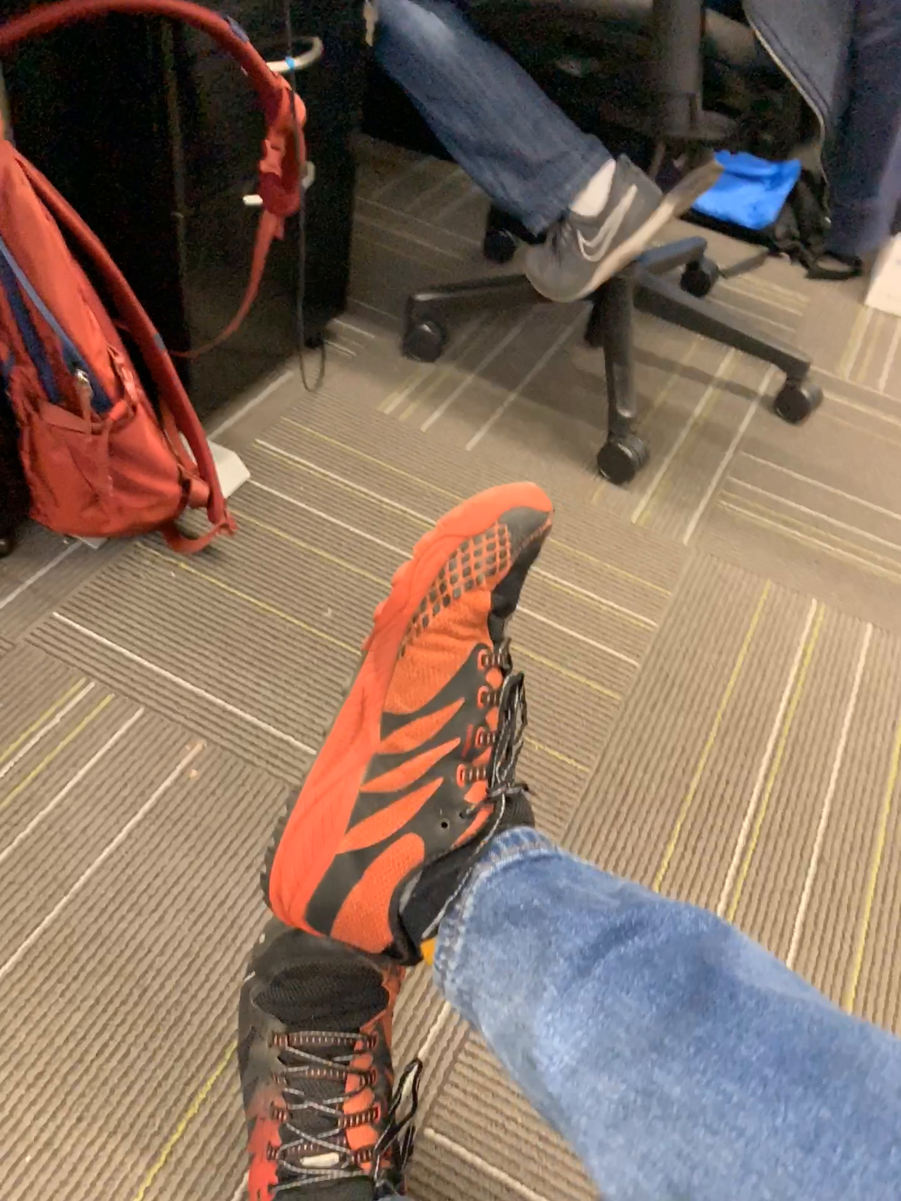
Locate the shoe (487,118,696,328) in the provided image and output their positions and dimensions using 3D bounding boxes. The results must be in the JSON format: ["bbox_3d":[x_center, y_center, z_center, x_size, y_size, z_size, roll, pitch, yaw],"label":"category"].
[{"bbox_3d":[0.253,-0.695,1.736,0.164,0.355,0.156,44,64,-14],"label":"shoe"}]

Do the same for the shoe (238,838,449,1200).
[{"bbox_3d":[-0.082,0.335,0.655,0.129,0.135,0.289,-1,89,-13],"label":"shoe"}]

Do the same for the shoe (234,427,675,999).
[{"bbox_3d":[0.003,0.062,0.578,0.142,0.304,0.118,26,14,5],"label":"shoe"}]
